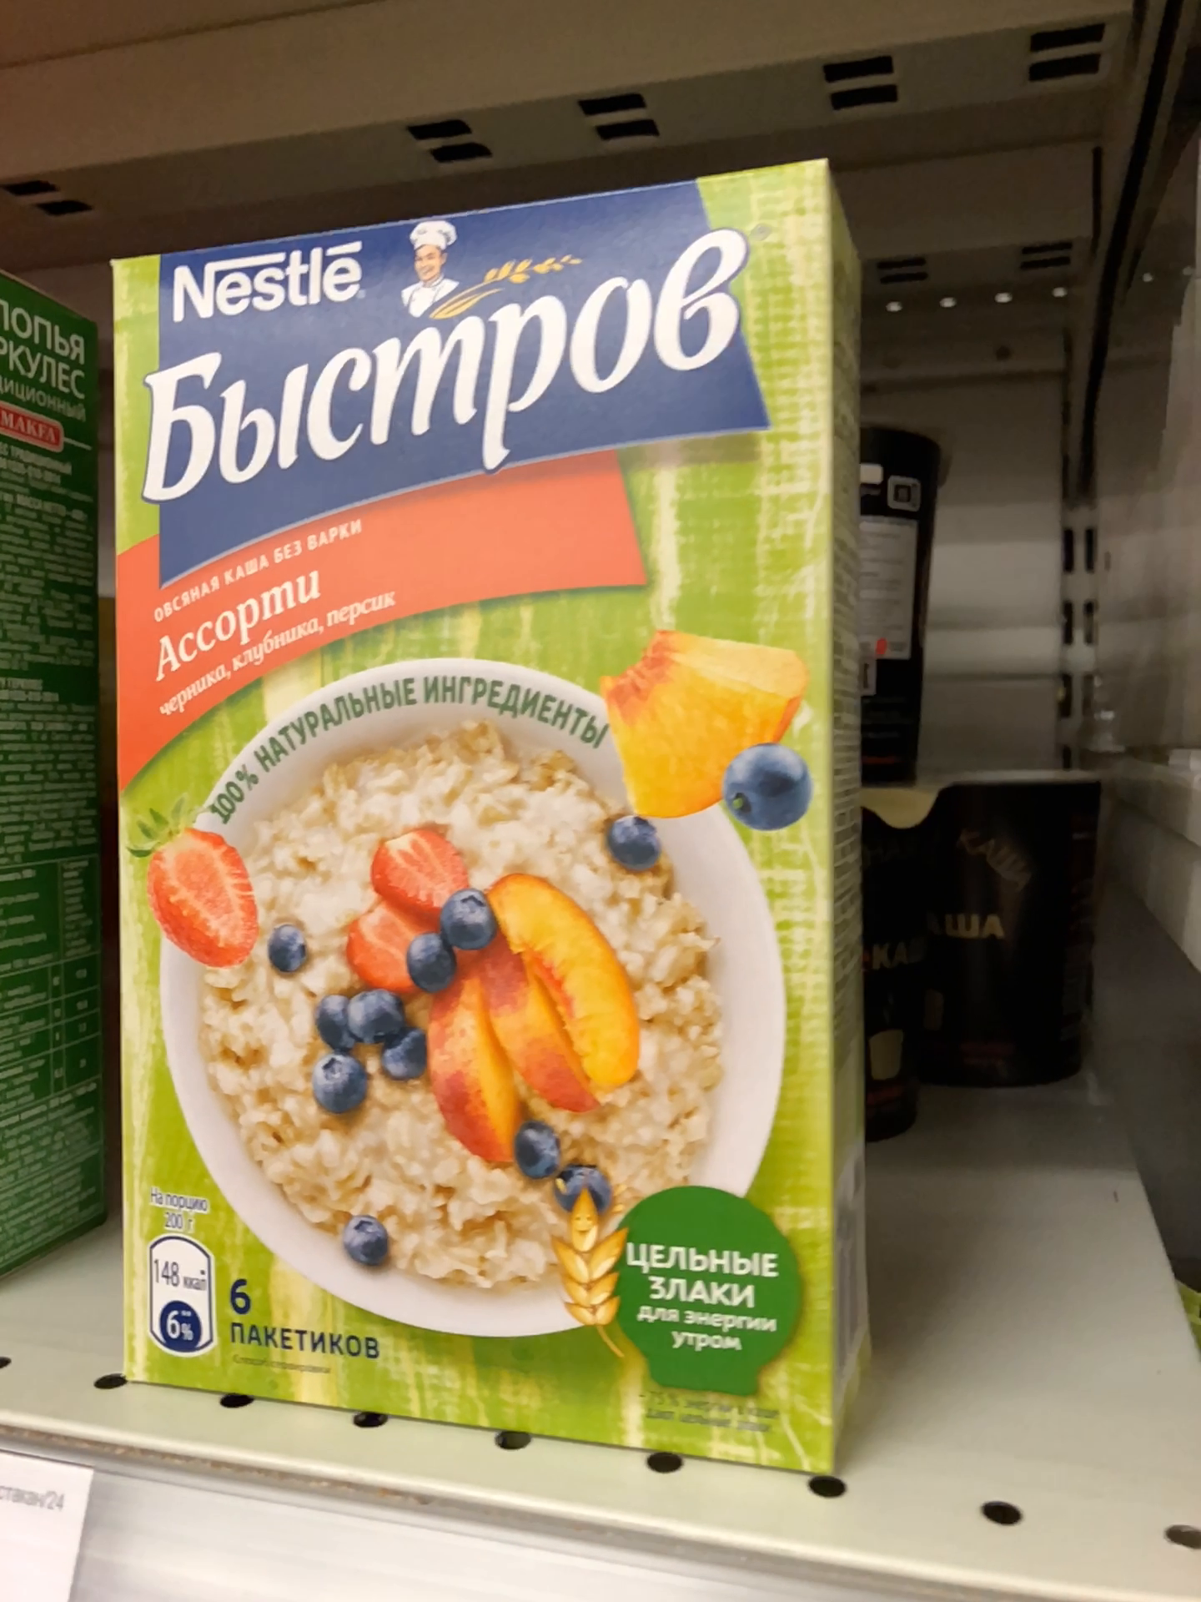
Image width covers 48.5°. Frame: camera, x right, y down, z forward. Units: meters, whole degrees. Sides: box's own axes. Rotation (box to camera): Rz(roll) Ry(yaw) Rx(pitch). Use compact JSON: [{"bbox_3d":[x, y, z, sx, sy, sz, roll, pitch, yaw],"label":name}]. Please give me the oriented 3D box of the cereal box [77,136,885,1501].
[{"bbox_3d":[-0.019,0.003,0.238,0.130,0.200,0.050,-1,2,17],"label":"cereal box"}]
